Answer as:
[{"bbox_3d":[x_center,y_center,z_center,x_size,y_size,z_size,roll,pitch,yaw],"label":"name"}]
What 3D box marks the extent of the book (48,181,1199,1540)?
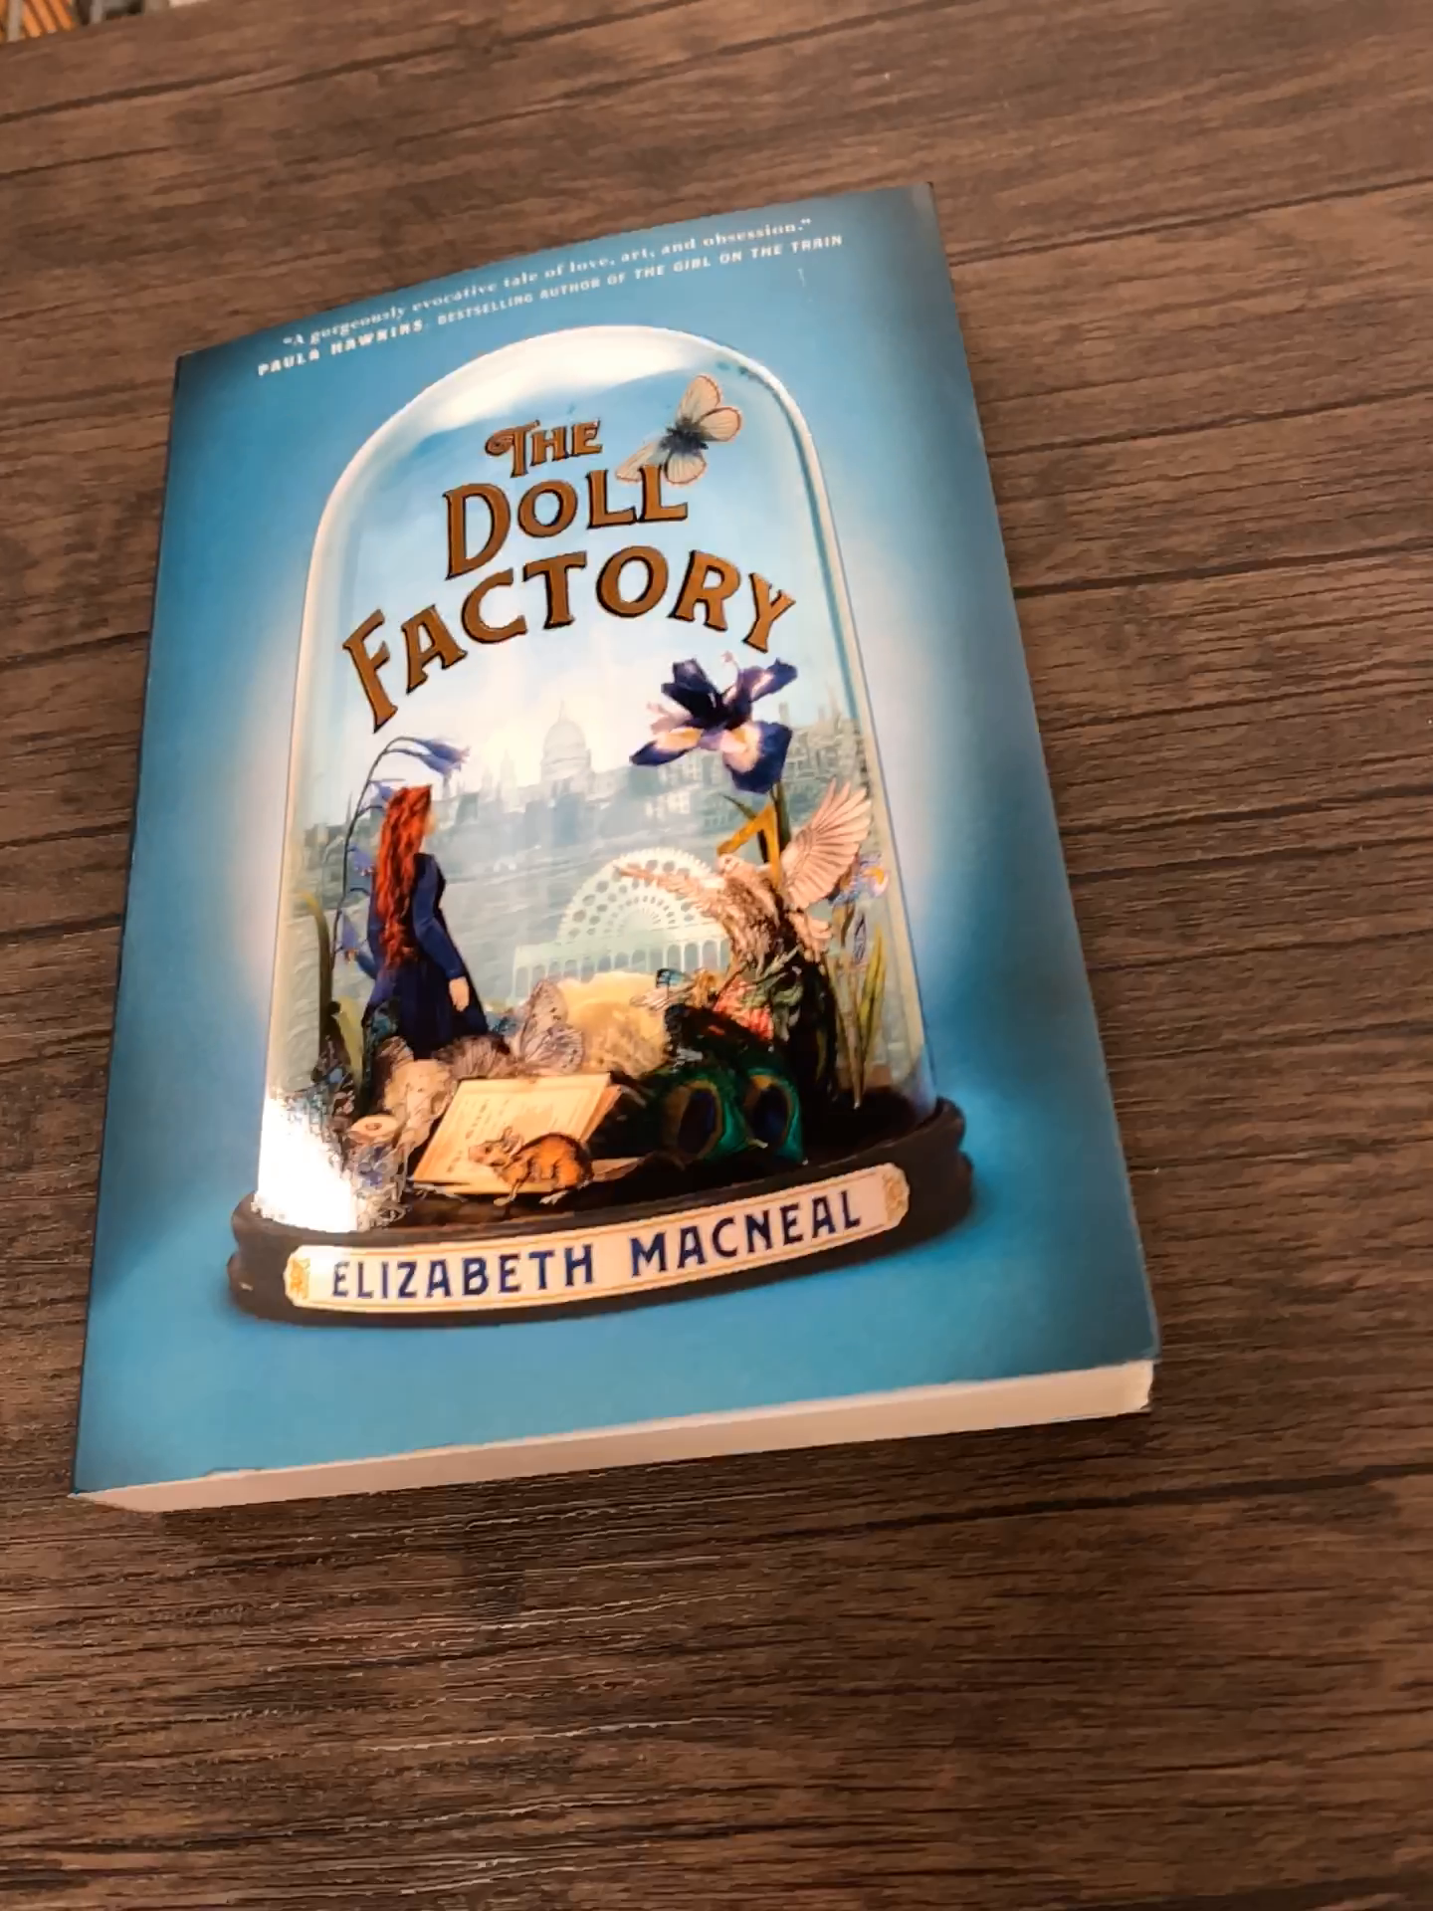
[{"bbox_3d":[-0.023,-0.027,0.286,0.160,0.040,0.230,-8,64,5],"label":"book"}]
